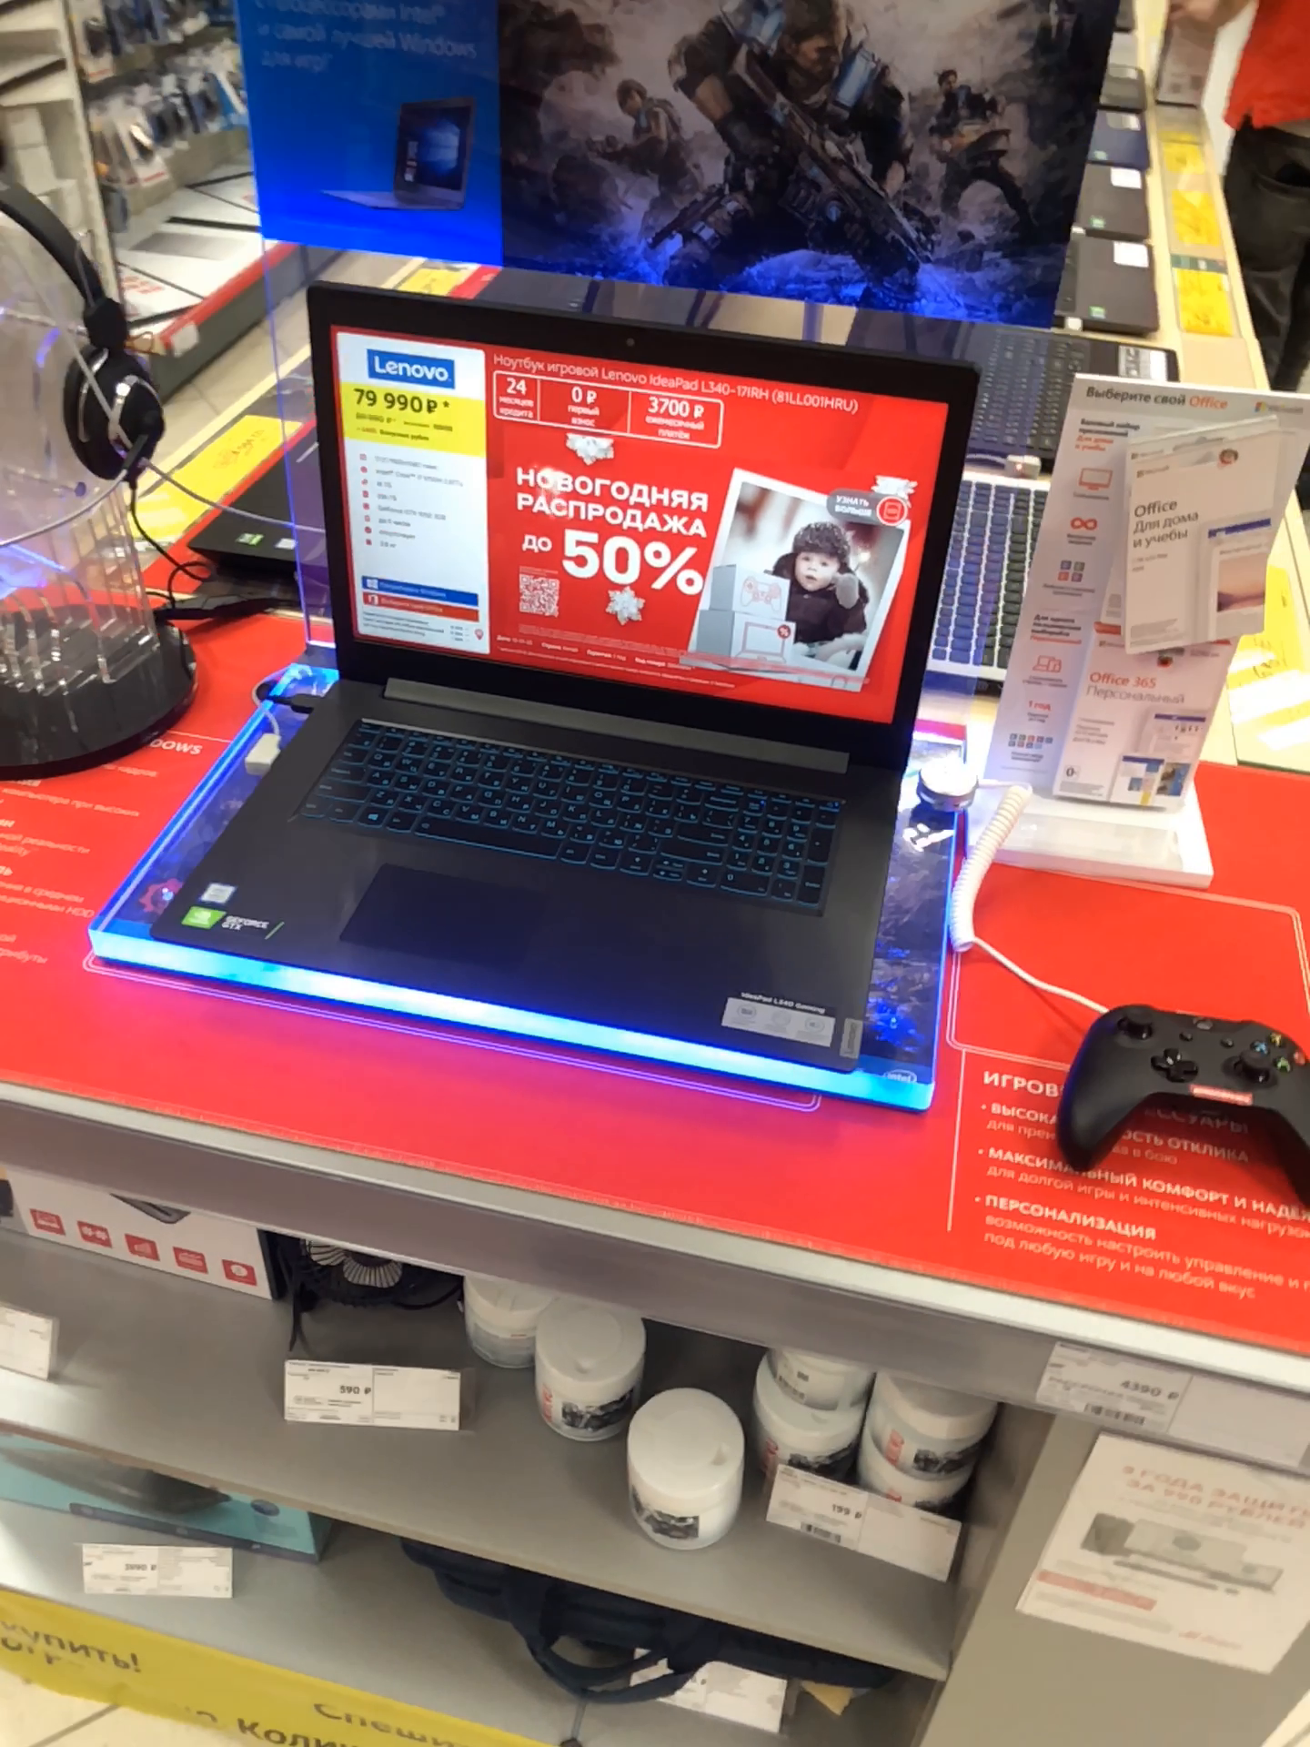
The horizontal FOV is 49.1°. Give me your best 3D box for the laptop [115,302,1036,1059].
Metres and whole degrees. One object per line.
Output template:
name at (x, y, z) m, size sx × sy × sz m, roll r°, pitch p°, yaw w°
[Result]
laptop at (-0.026, -0.128, 0.827) m, size 0.404 × 0.255 × 0.296 m, roll 10°, pitch 41°, yaw 10°
